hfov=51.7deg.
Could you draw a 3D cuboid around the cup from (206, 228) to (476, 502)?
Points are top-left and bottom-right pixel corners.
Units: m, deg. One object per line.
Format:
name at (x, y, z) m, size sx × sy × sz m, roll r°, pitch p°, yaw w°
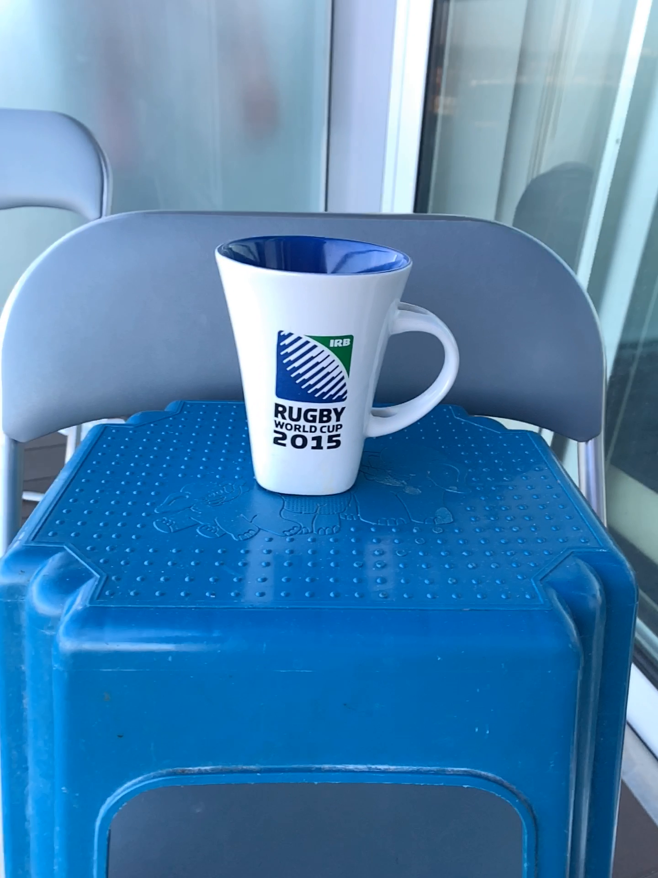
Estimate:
cup at (0.002, -0.038, 0.328) m, size 0.107 × 0.105 × 0.083 m, roll 1°, pitch 28°, yaw -3°
